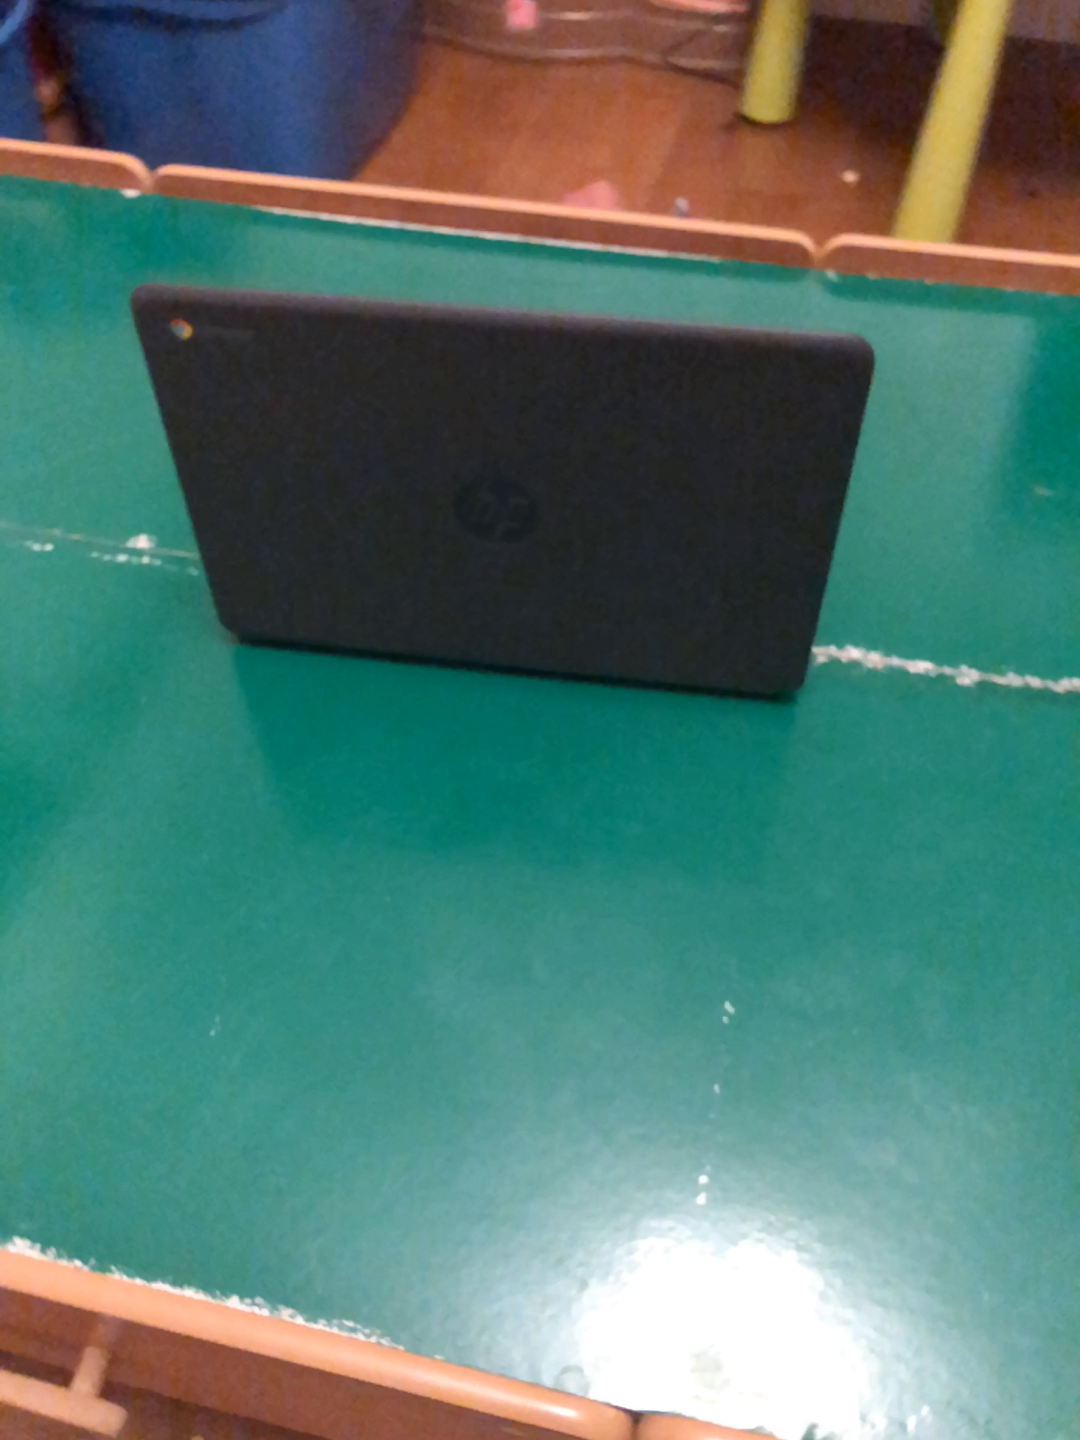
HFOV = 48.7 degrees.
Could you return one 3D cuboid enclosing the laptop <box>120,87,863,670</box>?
[{"bbox_3d":[-0.009,-0.186,0.651,0.317,0.204,0.211,6,51,4],"label":"laptop"}]
